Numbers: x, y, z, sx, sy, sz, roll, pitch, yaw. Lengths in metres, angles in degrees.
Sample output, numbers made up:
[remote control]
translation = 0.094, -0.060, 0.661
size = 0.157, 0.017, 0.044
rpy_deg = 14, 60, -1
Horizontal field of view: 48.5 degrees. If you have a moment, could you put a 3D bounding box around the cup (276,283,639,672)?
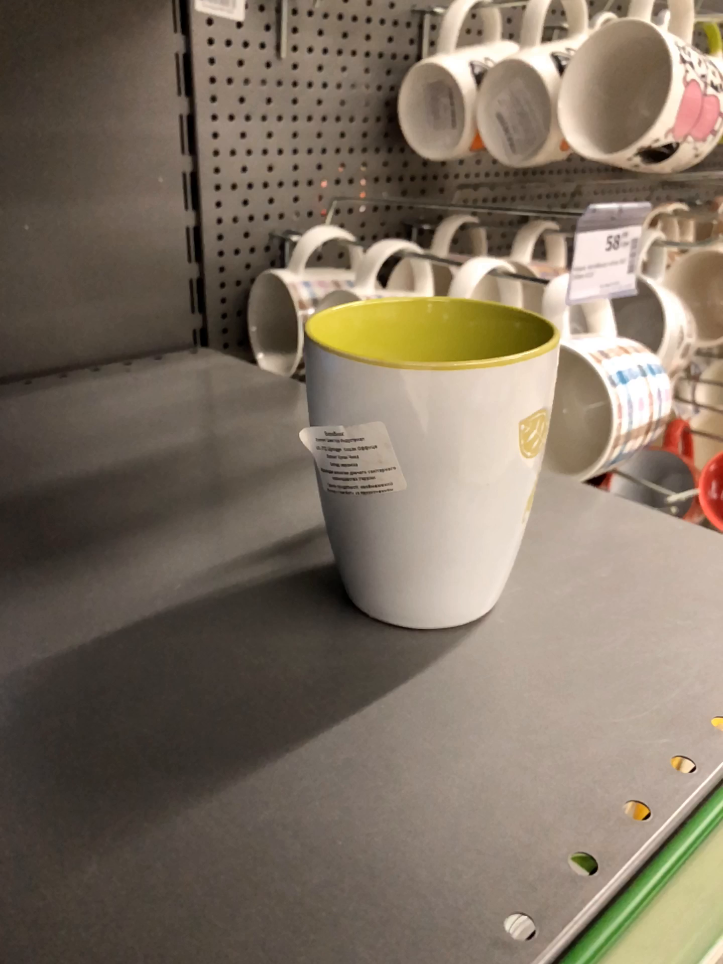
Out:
[cup]
translation = 0.021, -0.013, 0.296
size = 0.094, 0.095, 0.127
rpy_deg = -3, 24, -9
